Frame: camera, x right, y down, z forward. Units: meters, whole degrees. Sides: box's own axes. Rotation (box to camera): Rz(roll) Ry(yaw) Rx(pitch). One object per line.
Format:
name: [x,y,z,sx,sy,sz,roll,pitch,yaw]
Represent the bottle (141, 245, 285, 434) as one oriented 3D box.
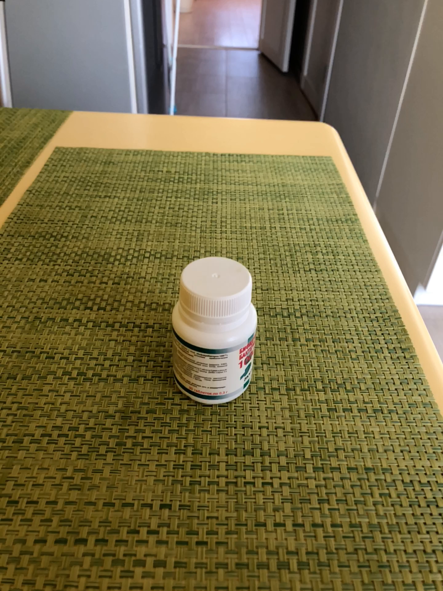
bottle: [-0.005,0.022,0.258,0.050,0.069,0.050,2,37,-2]
